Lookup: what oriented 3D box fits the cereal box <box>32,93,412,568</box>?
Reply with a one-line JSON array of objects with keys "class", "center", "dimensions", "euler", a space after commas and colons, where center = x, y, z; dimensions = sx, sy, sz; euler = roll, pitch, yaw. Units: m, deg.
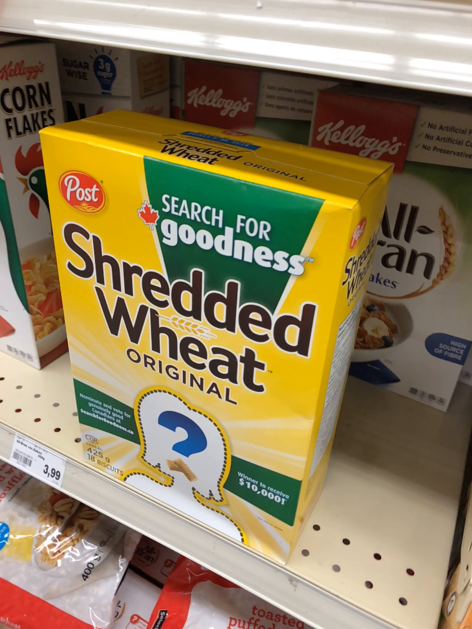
[{"class": "cereal box", "center": [-0.018, 0.016, 0.370], "dimensions": [0.200, 0.288, 0.081], "euler": [18, 35, 22]}]
